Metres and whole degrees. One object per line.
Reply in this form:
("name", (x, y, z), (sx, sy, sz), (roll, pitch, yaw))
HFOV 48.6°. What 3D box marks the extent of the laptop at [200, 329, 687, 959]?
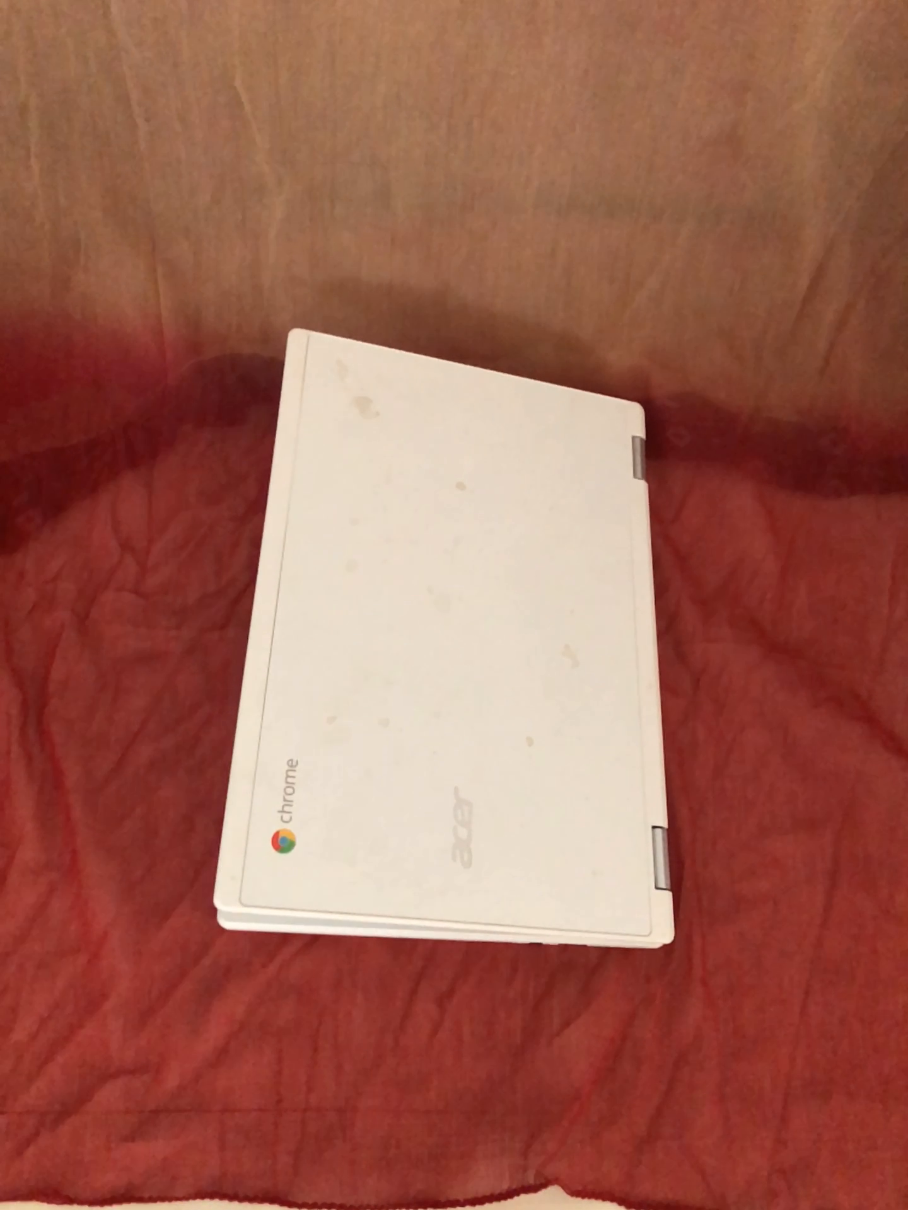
("laptop", (0.003, 0.007, 0.479), (0.189, 0.055, 0.289), (4, 63, -1))
